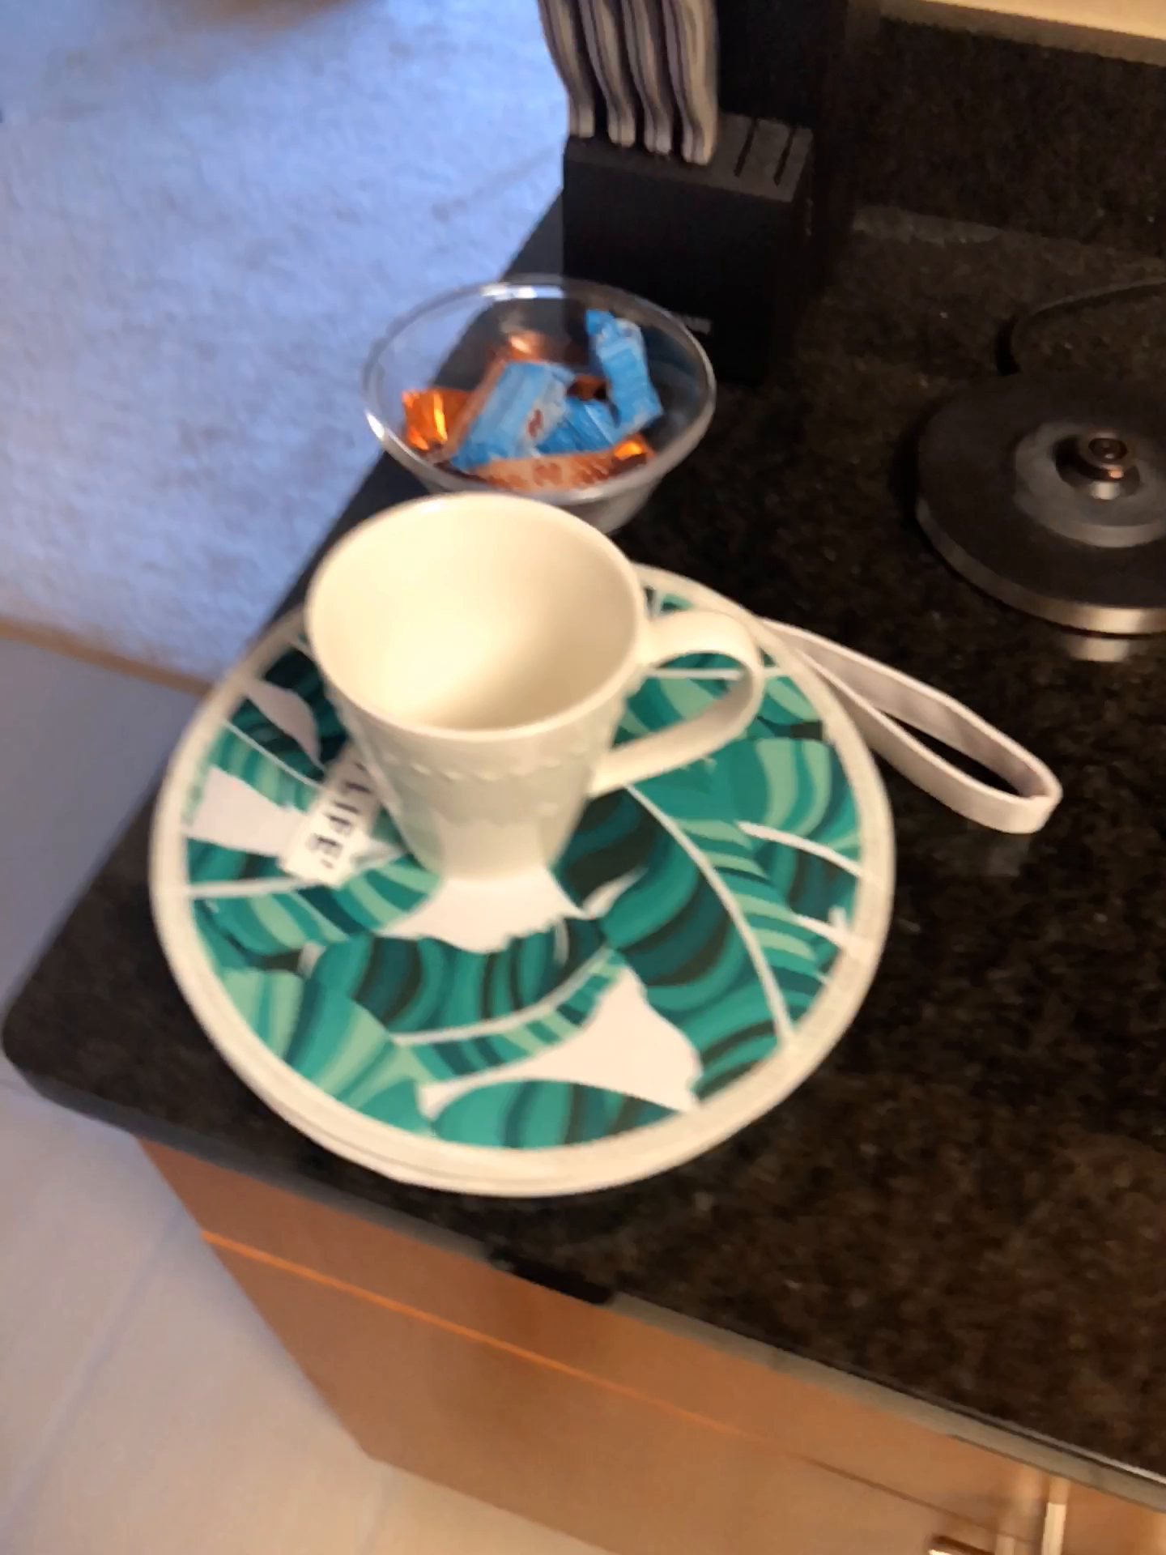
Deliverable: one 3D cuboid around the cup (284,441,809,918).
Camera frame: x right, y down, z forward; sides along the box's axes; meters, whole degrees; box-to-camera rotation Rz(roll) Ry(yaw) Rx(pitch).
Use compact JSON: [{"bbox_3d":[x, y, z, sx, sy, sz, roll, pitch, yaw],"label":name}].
[{"bbox_3d":[-0.014,-0.029,0.388,0.130,0.090,0.090,-7,54,-6],"label":"cup"}]
